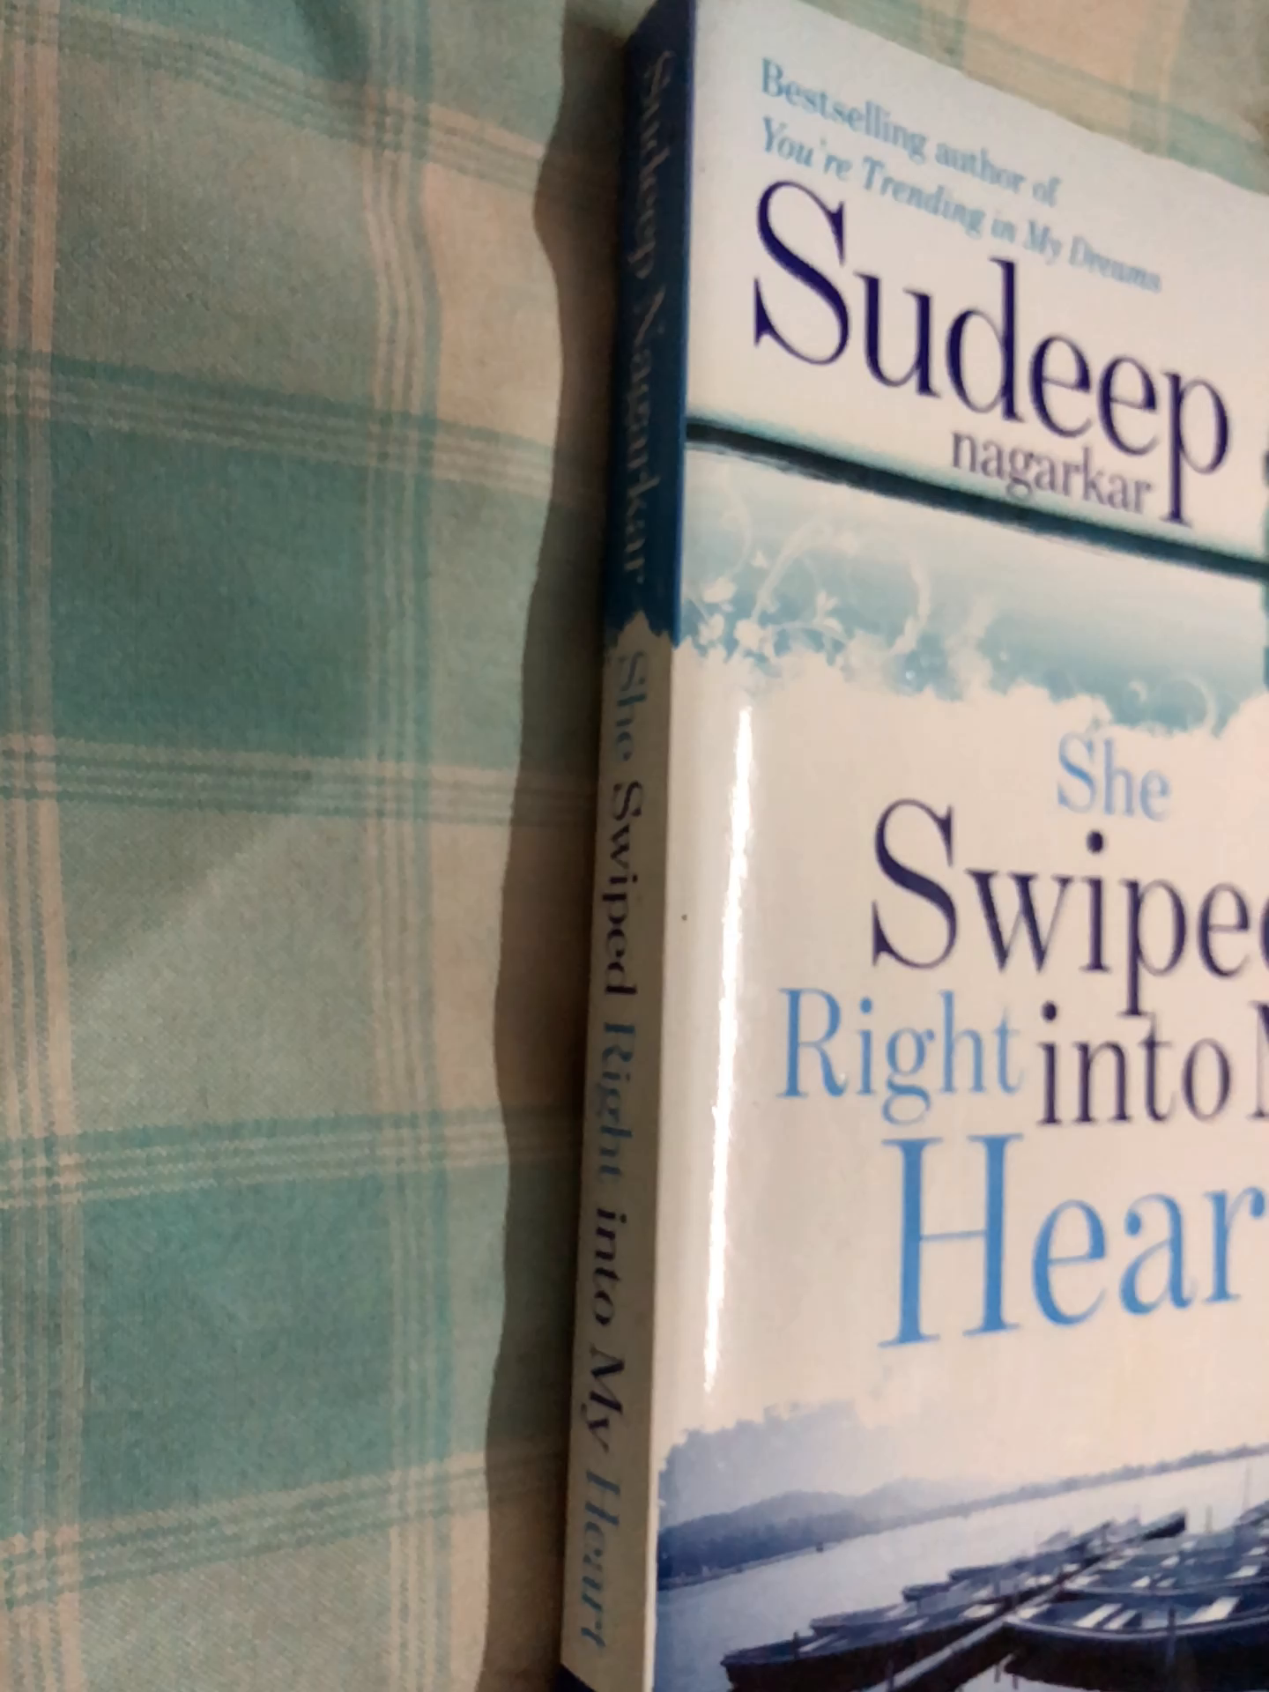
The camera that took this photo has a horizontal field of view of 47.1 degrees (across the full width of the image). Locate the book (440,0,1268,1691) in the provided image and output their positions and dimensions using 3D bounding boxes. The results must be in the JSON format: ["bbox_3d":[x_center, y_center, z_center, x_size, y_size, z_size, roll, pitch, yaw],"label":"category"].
[{"bbox_3d":[0.047,0.005,0.181,0.130,0.030,0.210,4,86,-28],"label":"book"}]
